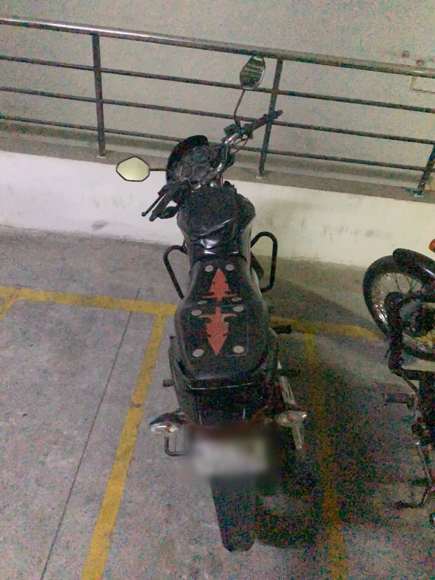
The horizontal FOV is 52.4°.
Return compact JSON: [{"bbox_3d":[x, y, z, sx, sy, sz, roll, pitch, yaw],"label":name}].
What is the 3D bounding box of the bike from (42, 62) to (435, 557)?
[{"bbox_3d":[-0.132,-0.087,1.777,0.755,1.067,1.684,-1,39,-11],"label":"bike"}]
